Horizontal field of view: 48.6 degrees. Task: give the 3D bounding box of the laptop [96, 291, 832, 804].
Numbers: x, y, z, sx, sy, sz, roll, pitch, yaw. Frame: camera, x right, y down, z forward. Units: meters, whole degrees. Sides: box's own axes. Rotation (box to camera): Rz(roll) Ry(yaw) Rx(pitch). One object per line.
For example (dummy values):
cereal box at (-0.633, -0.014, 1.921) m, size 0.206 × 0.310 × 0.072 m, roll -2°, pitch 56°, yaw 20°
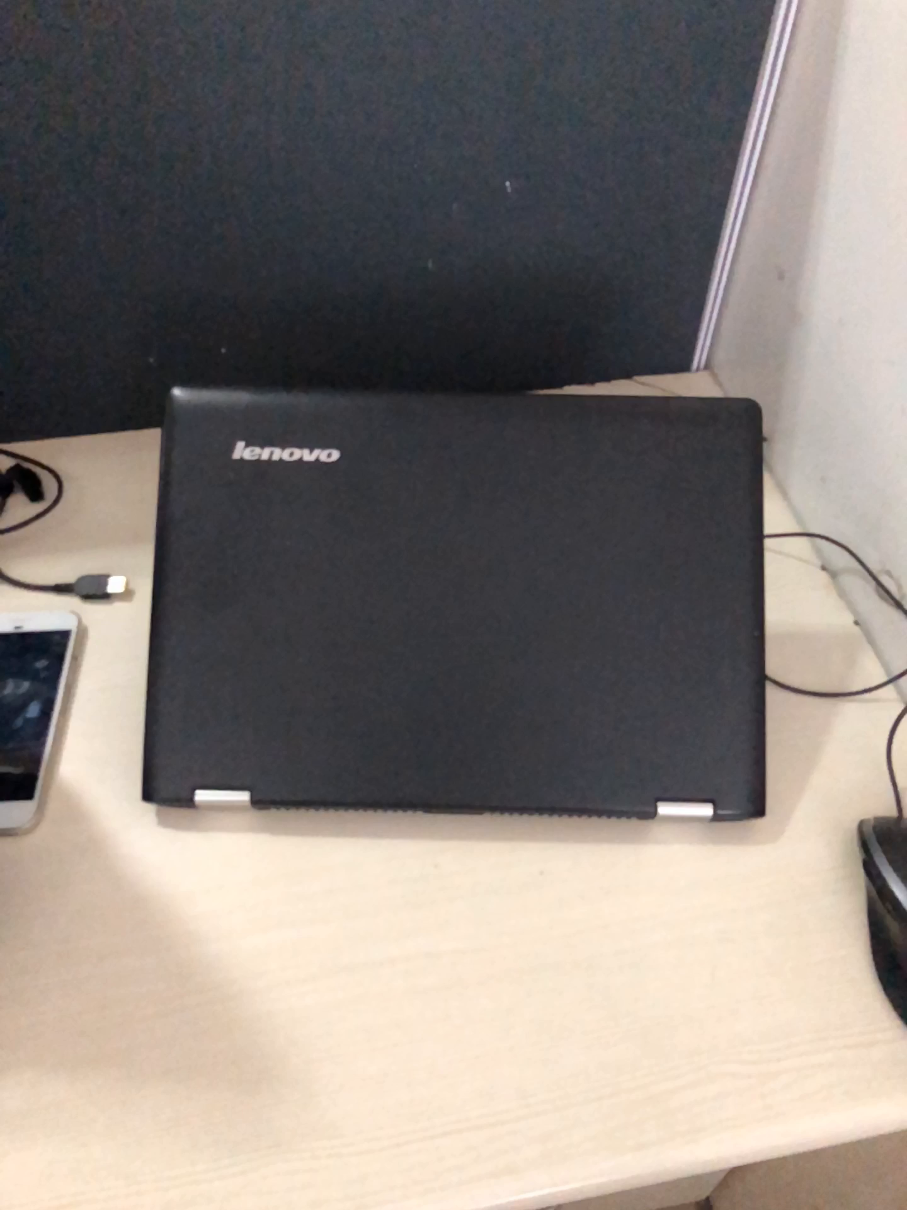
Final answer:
laptop at (0.004, -0.032, 0.549) m, size 0.324 × 0.142 × 0.205 m, roll 2°, pitch 55°, yaw 0°
